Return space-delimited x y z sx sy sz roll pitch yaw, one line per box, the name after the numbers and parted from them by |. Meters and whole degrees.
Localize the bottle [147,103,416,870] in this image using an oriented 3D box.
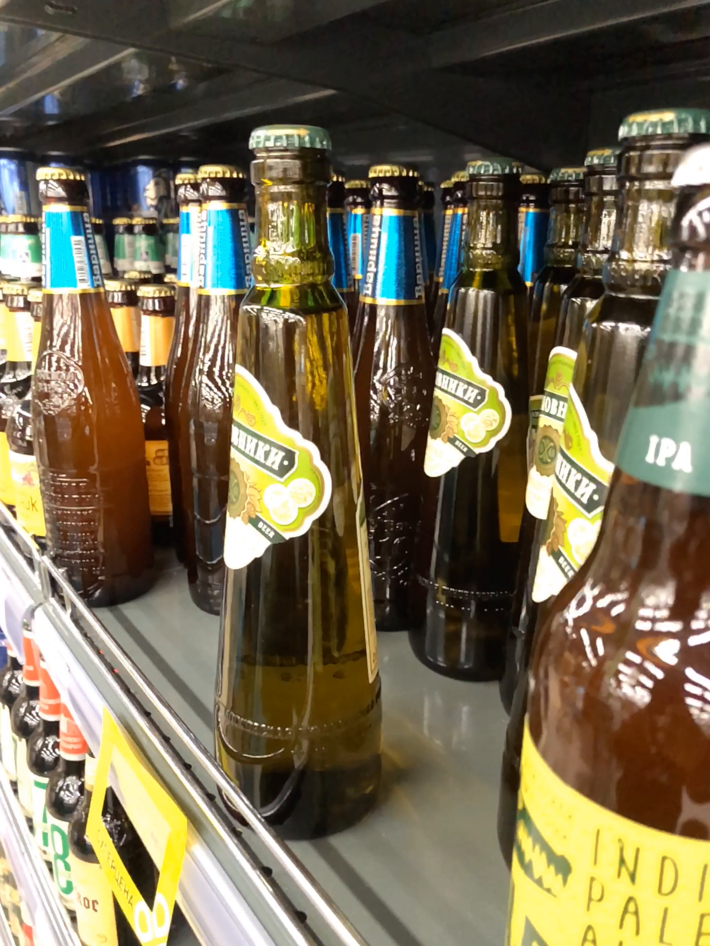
-0.028 0.009 0.299 0.070 0.261 0.070 0 16 0 | bottle
